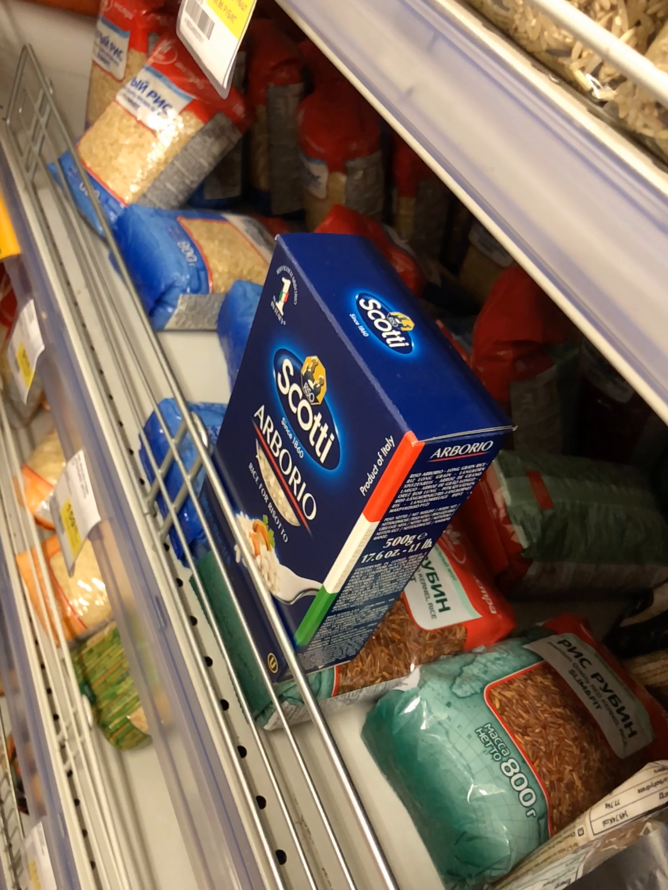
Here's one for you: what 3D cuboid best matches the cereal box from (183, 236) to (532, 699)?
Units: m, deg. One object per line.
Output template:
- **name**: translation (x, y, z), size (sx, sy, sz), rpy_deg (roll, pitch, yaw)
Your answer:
- **cereal box**: translation (-0.006, 0.013, 0.314), size (0.050, 0.159, 0.110), rpy_deg (-6, 50, -33)
